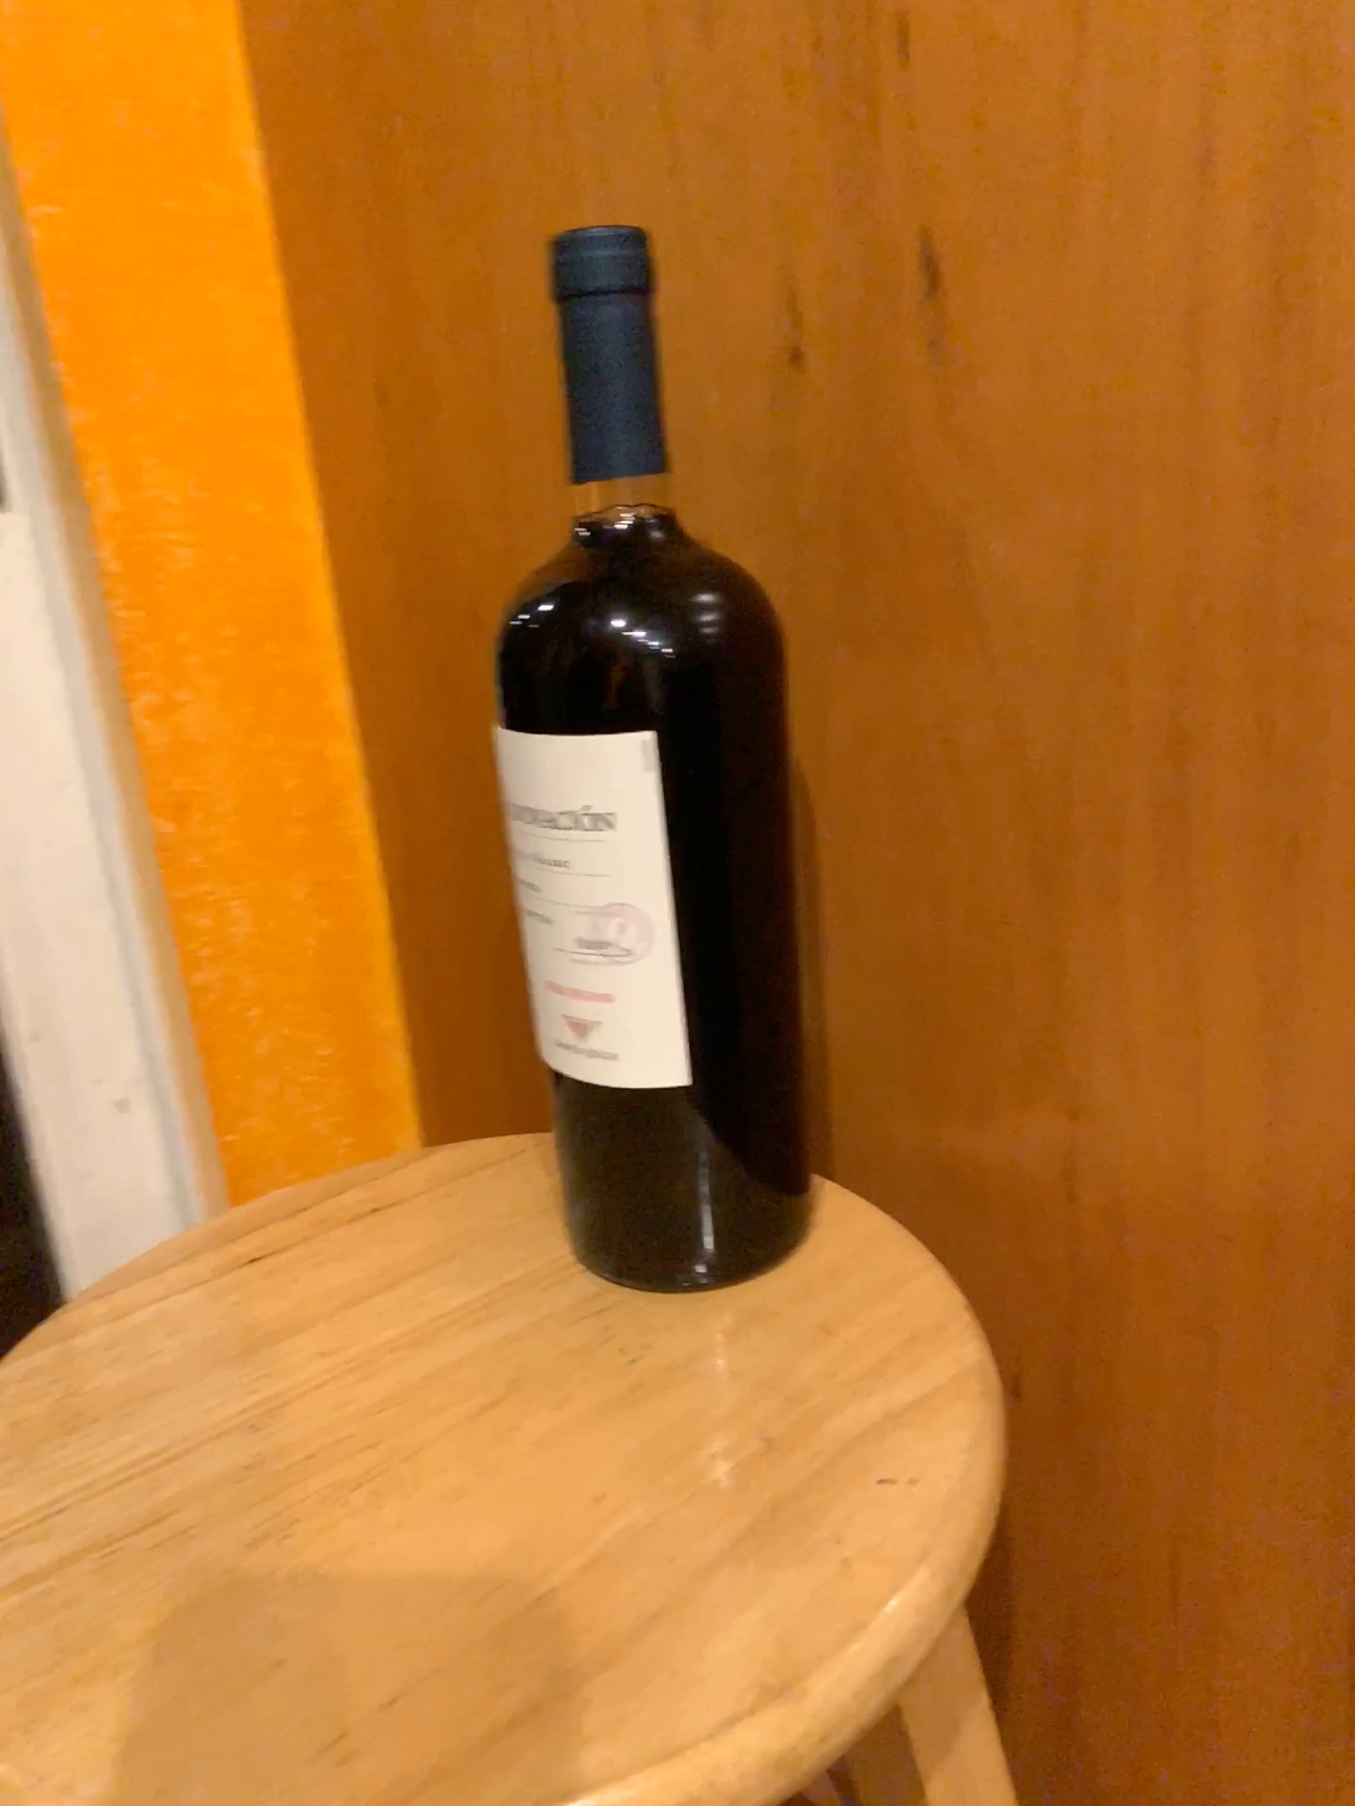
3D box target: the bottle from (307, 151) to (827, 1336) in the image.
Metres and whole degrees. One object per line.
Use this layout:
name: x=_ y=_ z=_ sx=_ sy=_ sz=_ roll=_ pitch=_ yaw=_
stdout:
bottle: x=-0.026 y=-0.040 z=0.405 sx=0.080 sy=0.299 sz=0.090 roll=-19 pitch=21 yaw=-39
